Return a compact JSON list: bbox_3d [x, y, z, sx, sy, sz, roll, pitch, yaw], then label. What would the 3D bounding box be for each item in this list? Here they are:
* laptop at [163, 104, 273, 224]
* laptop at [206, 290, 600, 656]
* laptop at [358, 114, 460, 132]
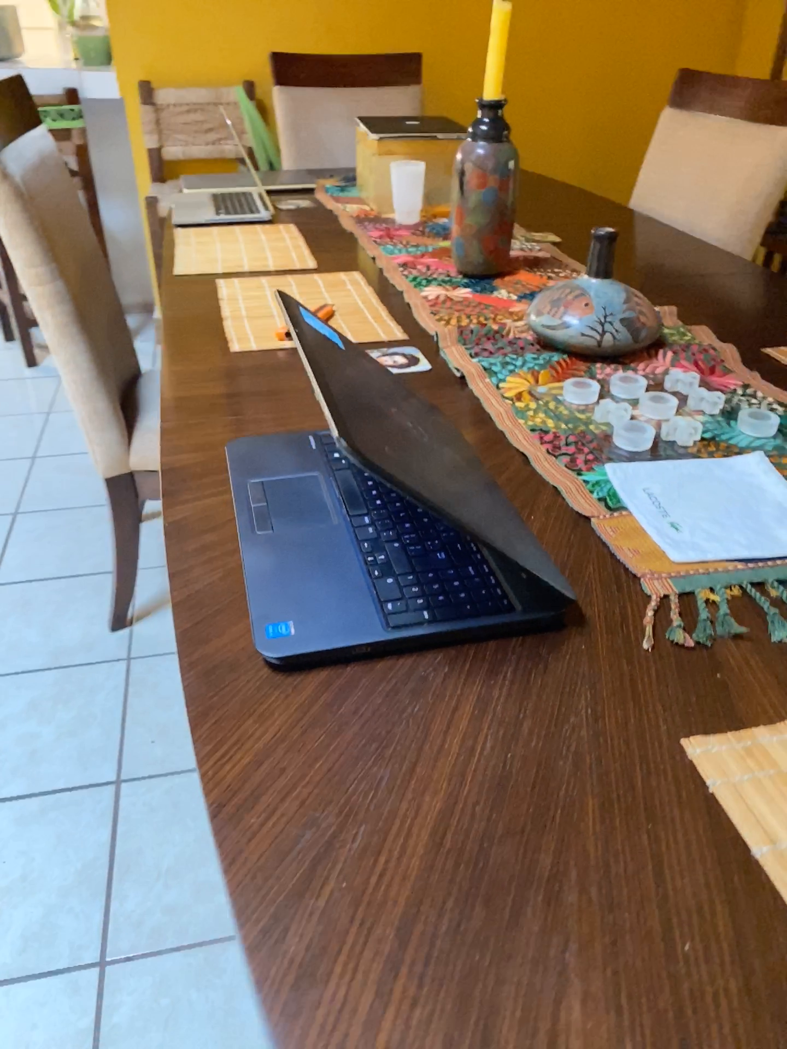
[{"bbox_3d":[-0.433,-0.889,1.955,0.221,0.207,0.373,-8,33,-13],"label":"laptop"},{"bbox_3d":[-0.023,-0.075,0.721,0.248,0.159,0.358,-7,33,-12],"label":"laptop"},{"bbox_3d":[0.031,-0.971,1.938,0.201,0.001,0.293,-4,34,-10],"label":"laptop"}]
